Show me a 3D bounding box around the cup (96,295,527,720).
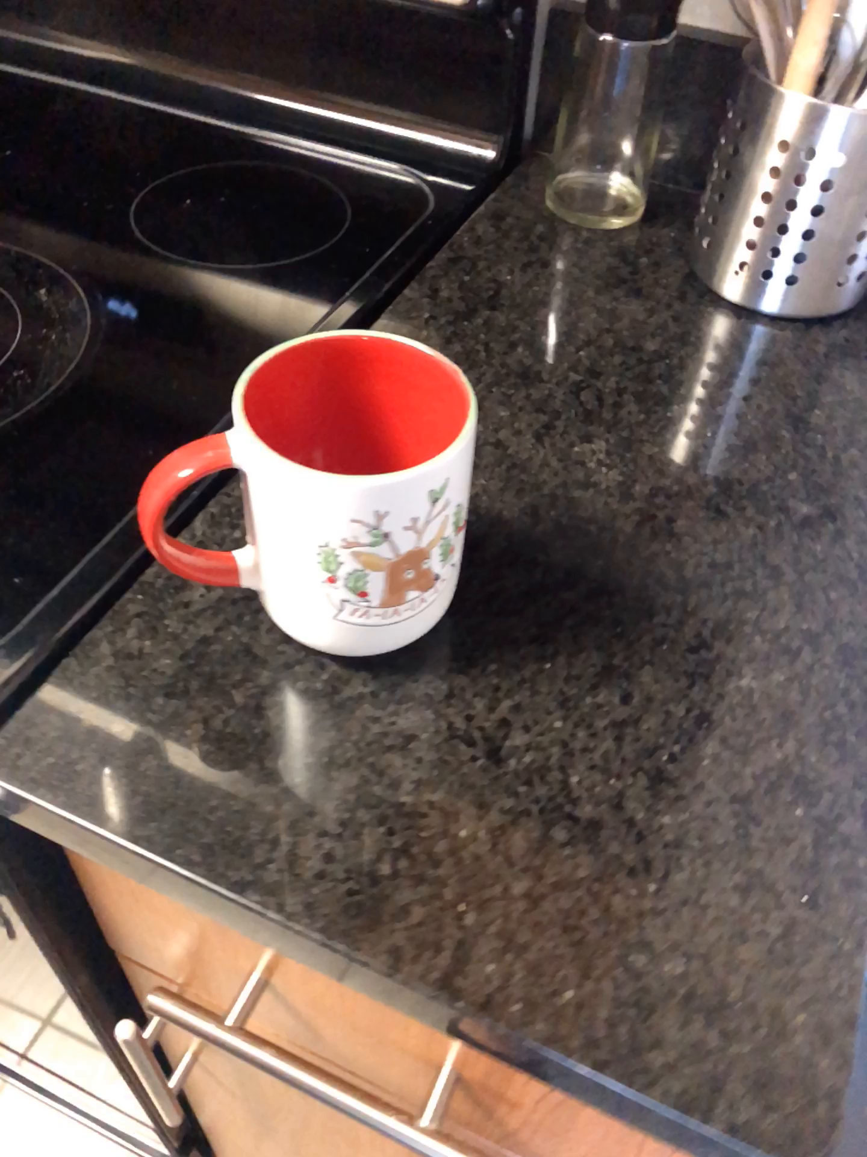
[{"bbox_3d":[-0.048,-0.030,0.379,0.130,0.110,0.090,-14,50,-17],"label":"cup"}]
